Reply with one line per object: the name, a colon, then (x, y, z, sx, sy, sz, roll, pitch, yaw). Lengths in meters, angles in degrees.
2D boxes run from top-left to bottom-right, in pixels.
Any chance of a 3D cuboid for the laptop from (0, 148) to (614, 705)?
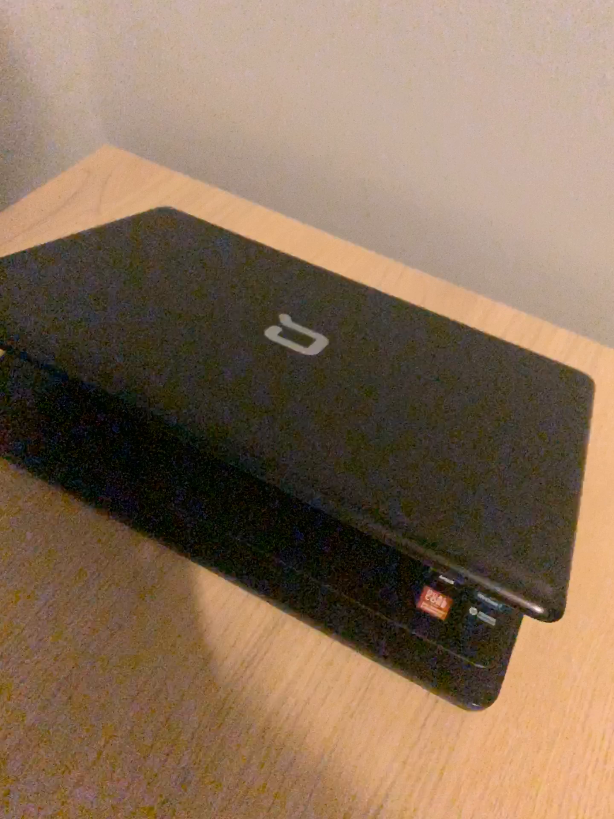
laptop: (-0.016, -0.023, 0.404, 0.373, 0.064, 0.224, 24, 58, 14)
